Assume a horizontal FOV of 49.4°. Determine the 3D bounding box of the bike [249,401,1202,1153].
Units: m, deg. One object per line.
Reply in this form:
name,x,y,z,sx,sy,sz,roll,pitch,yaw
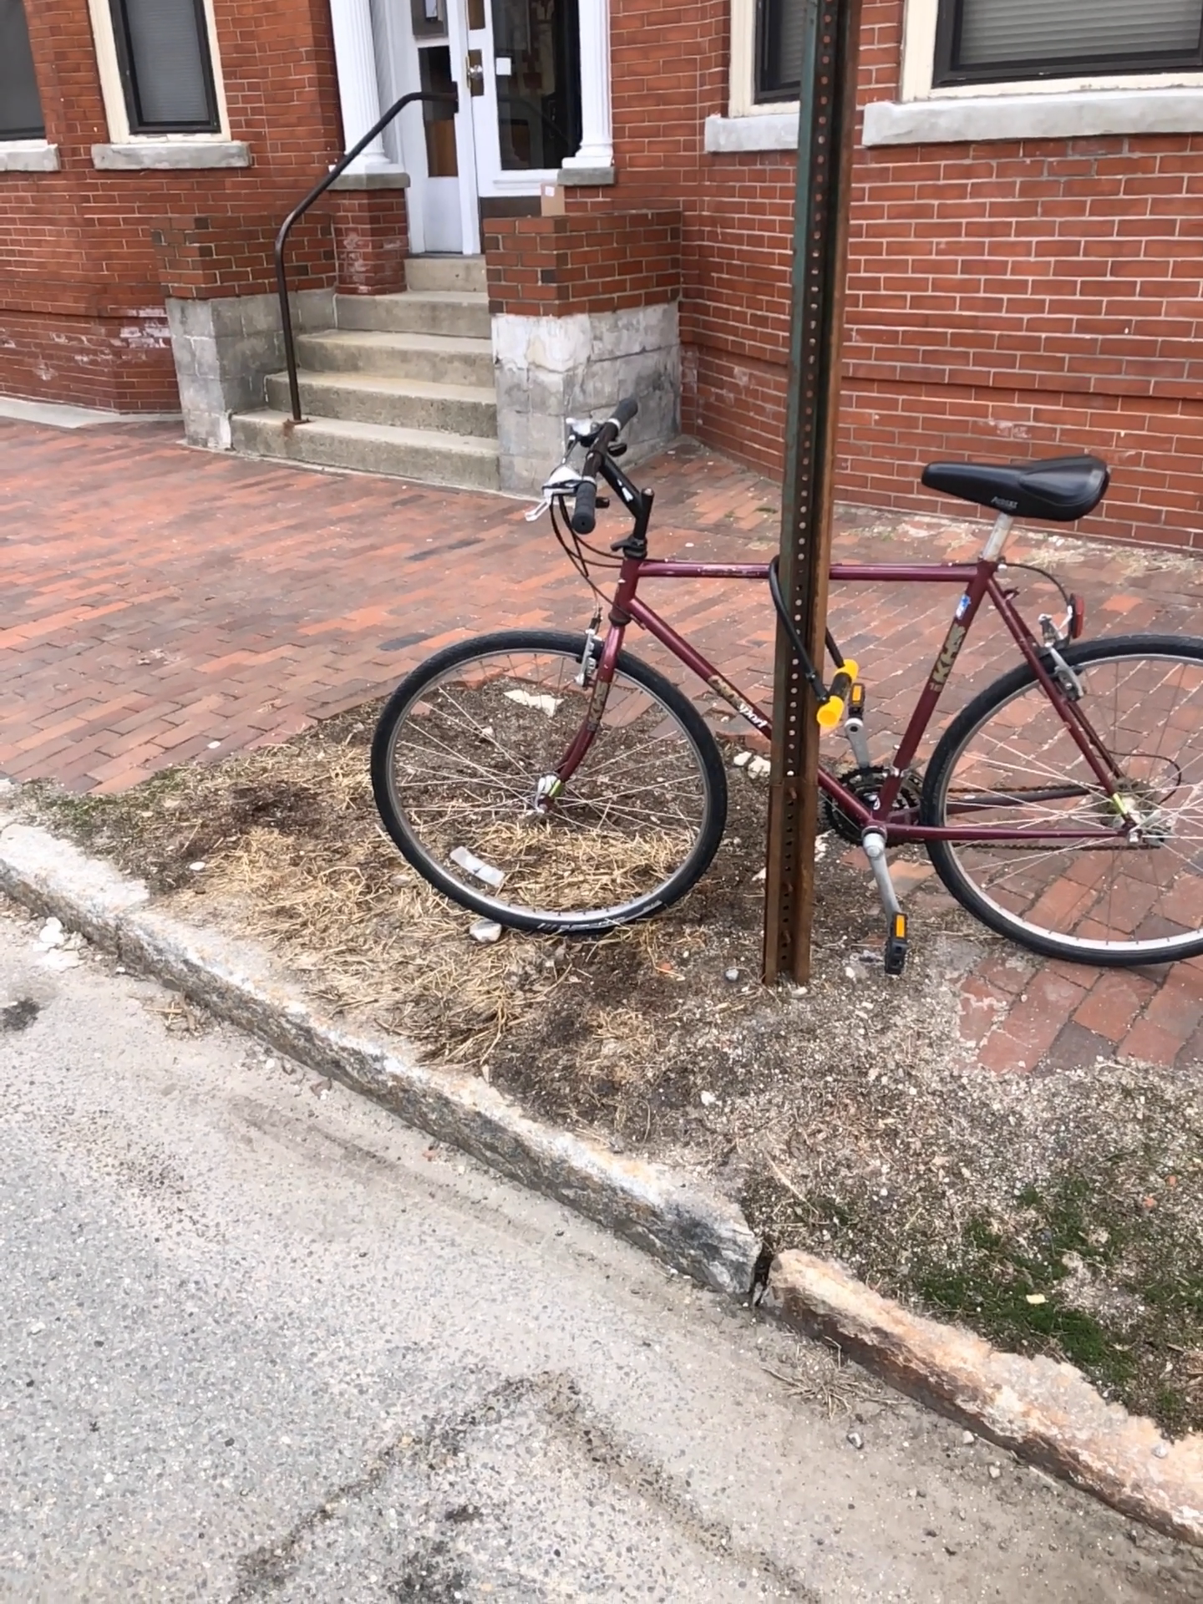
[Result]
bike,0.405,-0.116,2.266,1.726,1.012,0.671,4,25,11
